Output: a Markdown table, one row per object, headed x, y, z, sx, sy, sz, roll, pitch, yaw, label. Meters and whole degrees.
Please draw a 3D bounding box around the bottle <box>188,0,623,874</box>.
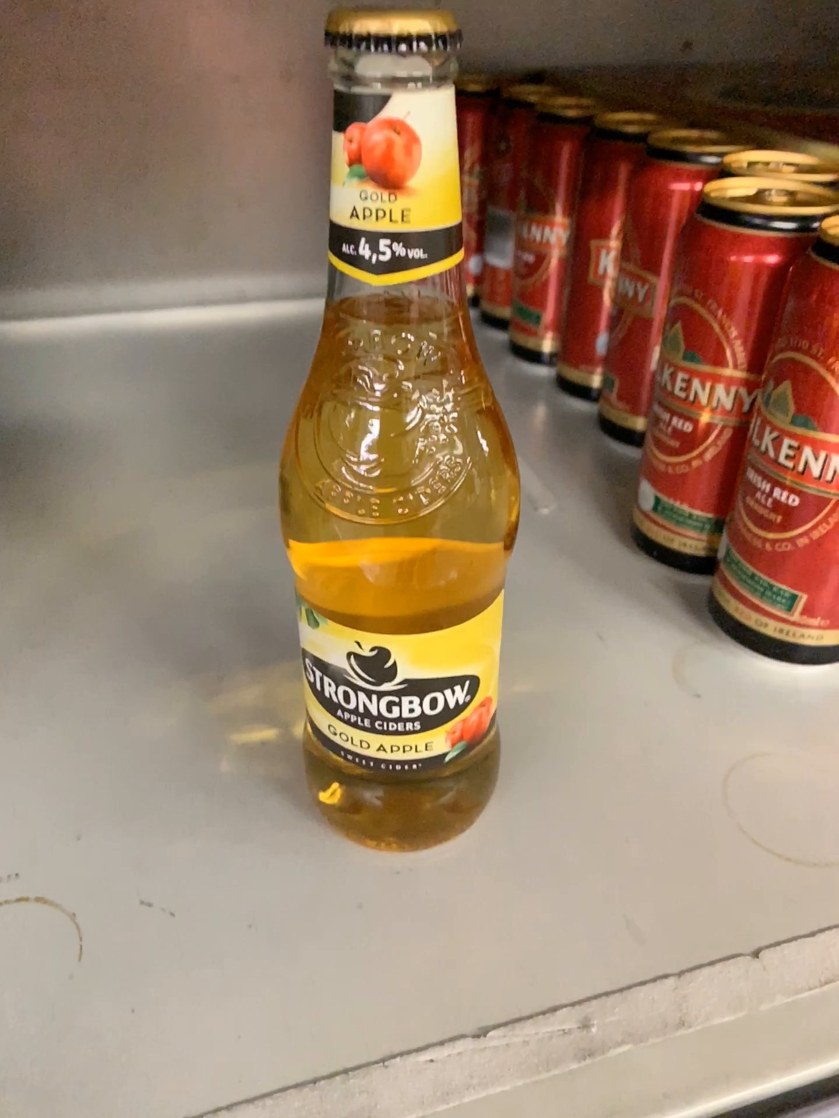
| x | y | z | sx | sy | sz | roll | pitch | yaw | label |
| --- | --- | --- | --- | --- | --- | --- | --- | --- | --- |
| 0.000 | -0.025 | 0.260 | 0.080 | 0.239 | 0.080 | 1 | 33 | -1 | bottle |
